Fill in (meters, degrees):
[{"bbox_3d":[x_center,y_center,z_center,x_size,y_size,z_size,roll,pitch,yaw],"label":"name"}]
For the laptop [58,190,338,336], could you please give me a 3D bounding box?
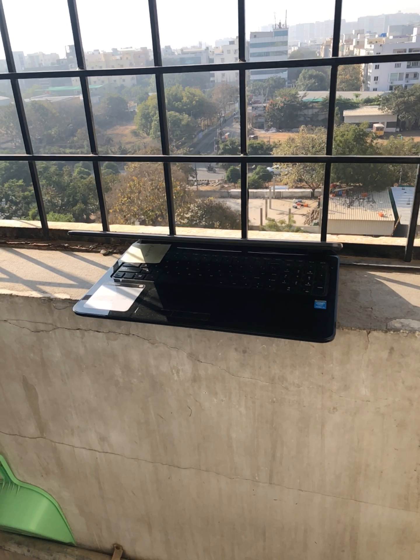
[{"bbox_3d":[0.003,-0.046,0.703,0.363,0.113,0.245,4,27,14],"label":"laptop"}]
